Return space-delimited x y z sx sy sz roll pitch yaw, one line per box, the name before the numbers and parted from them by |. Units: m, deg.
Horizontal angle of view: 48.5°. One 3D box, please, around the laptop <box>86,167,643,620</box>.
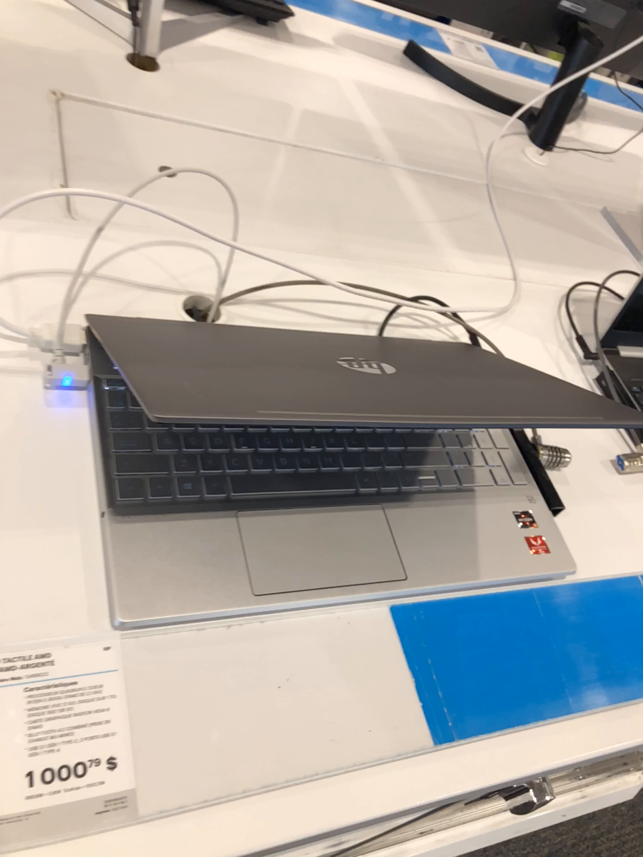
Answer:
laptop | 0.038 -0.023 0.491 0.351 0.134 0.231 1 53 -26
